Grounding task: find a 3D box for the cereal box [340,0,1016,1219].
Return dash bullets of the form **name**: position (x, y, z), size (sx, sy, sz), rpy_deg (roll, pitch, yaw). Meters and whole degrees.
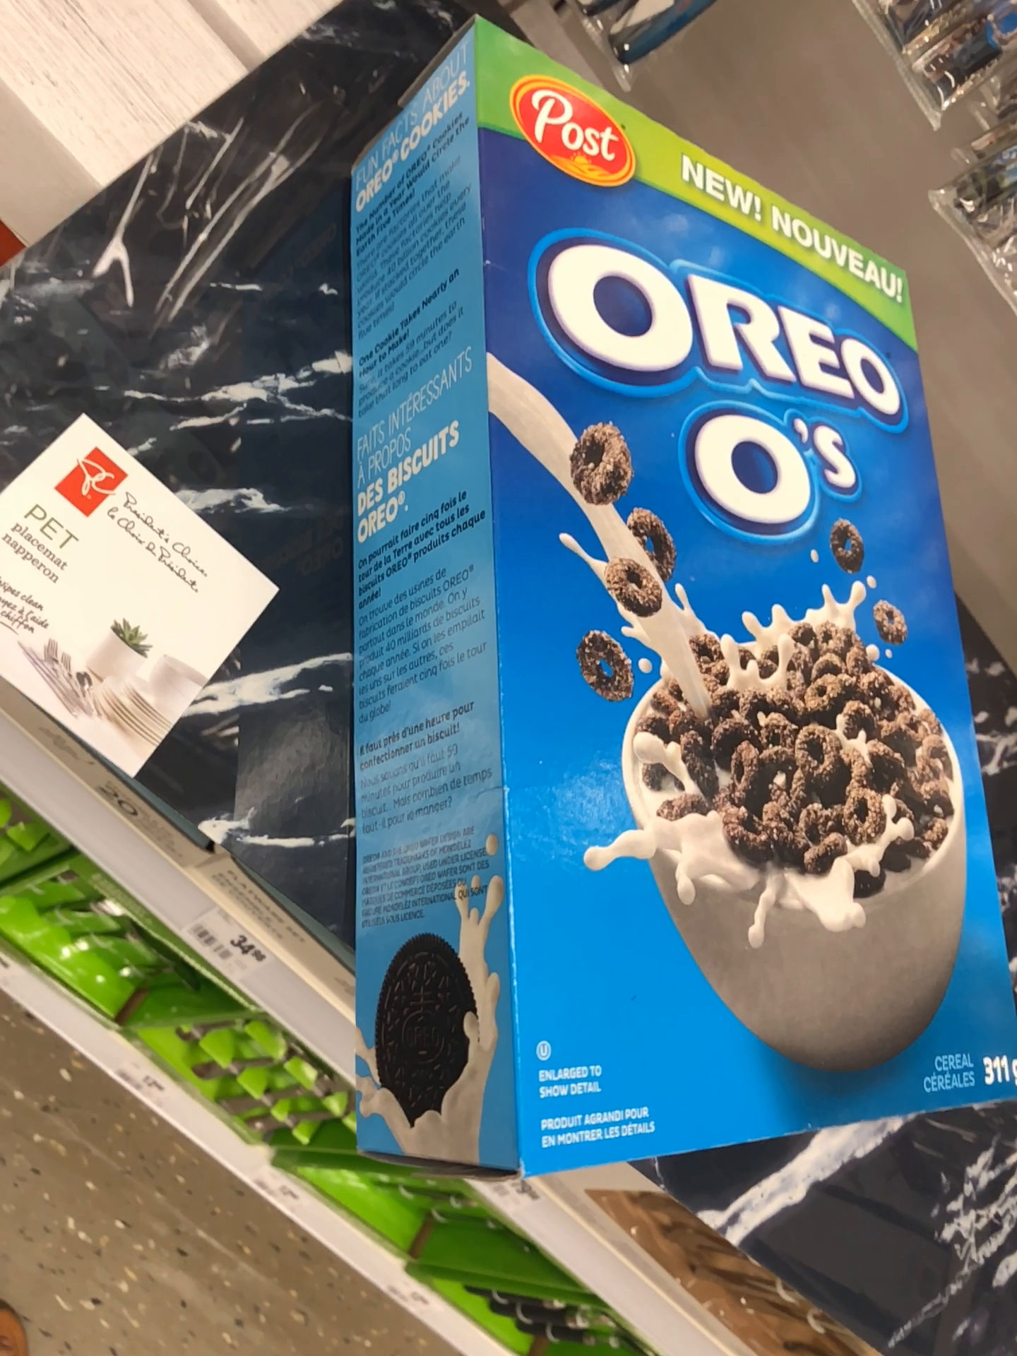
- **cereal box**: position (0.061, -0.023, 0.335), size (0.211, 0.070, 0.300), rpy_deg (11, 68, -38)
